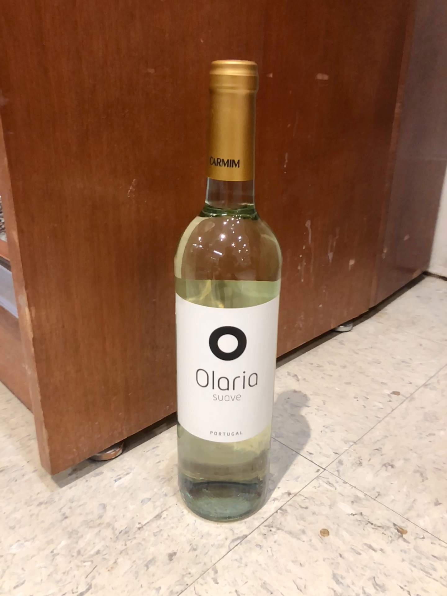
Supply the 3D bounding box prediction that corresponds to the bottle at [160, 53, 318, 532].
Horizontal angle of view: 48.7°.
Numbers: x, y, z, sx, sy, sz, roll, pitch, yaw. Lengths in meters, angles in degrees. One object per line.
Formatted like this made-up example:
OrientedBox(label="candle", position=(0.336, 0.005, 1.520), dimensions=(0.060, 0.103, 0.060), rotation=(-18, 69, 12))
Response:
OrientedBox(label="bottle", position=(0.003, 0.011, 0.341), dimensions=(0.080, 0.318, 0.070), rotation=(-1, 22, -5))
